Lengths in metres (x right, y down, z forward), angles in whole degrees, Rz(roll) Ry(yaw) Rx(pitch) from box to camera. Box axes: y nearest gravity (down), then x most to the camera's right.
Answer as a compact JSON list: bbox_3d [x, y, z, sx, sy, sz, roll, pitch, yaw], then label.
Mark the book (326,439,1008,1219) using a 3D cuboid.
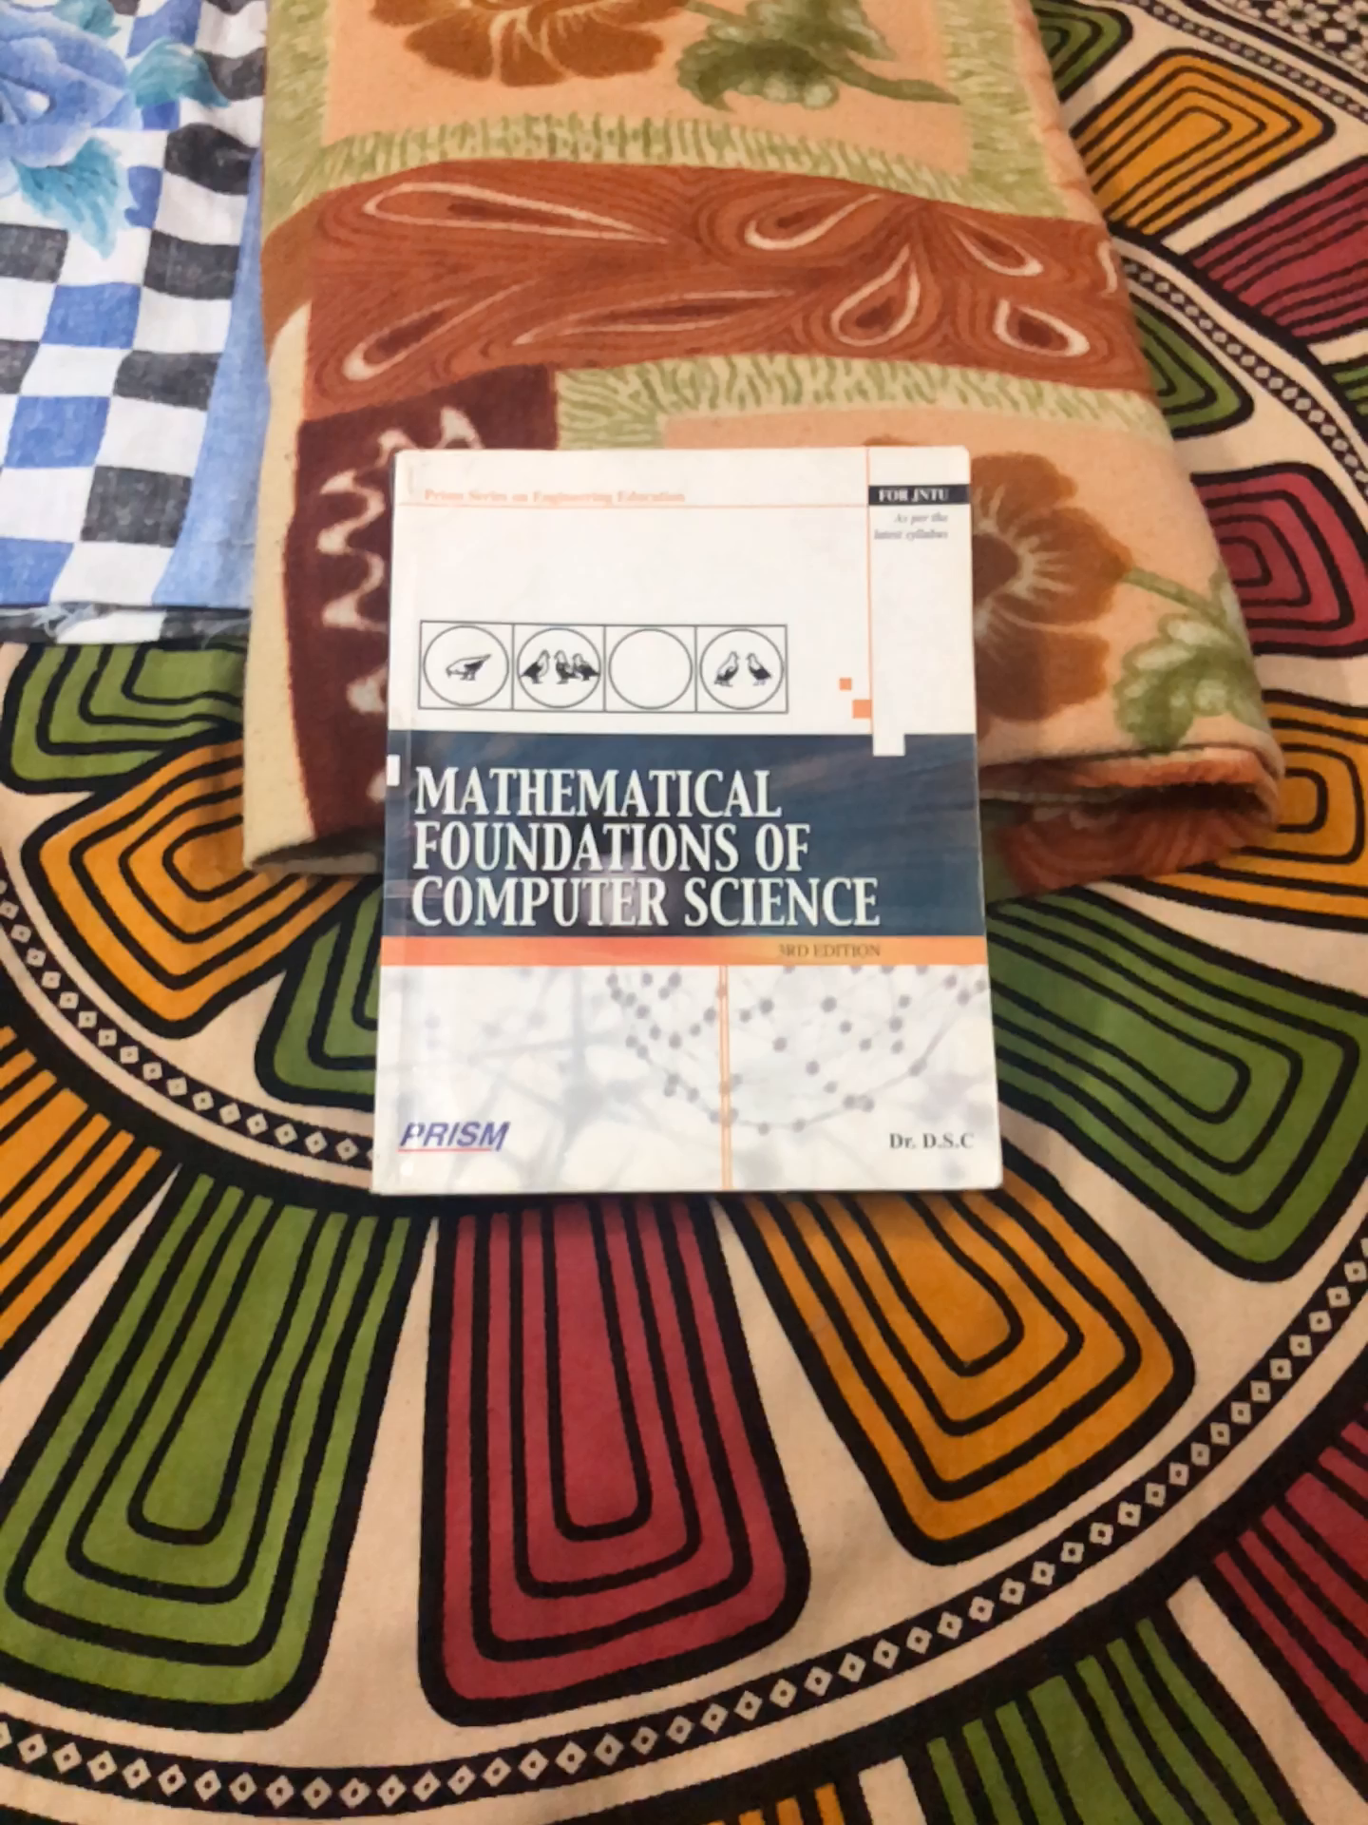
[{"bbox_3d":[-0.007,-0.026,0.468,0.190,0.050,0.230,0,80,-3],"label":"book"}]
